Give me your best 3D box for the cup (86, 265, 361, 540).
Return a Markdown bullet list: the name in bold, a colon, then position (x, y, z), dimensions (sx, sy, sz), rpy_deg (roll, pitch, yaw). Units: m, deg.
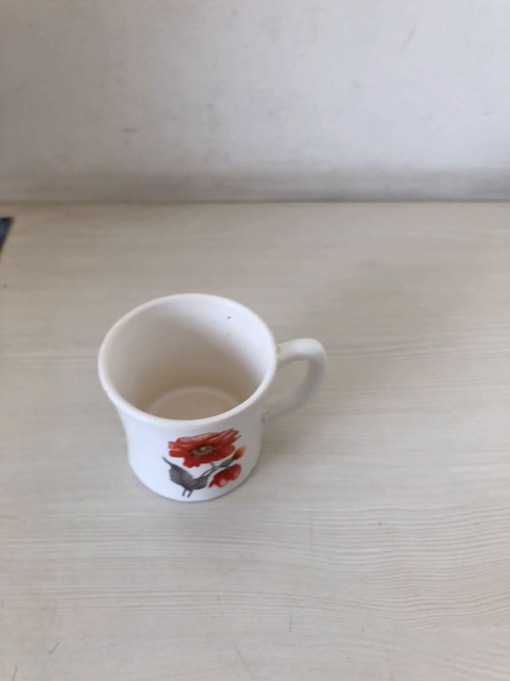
- **cup**: position (-0.016, 0.024, 0.245), dimensions (0.090, 0.070, 0.070), rpy_deg (-12, 47, -14)
